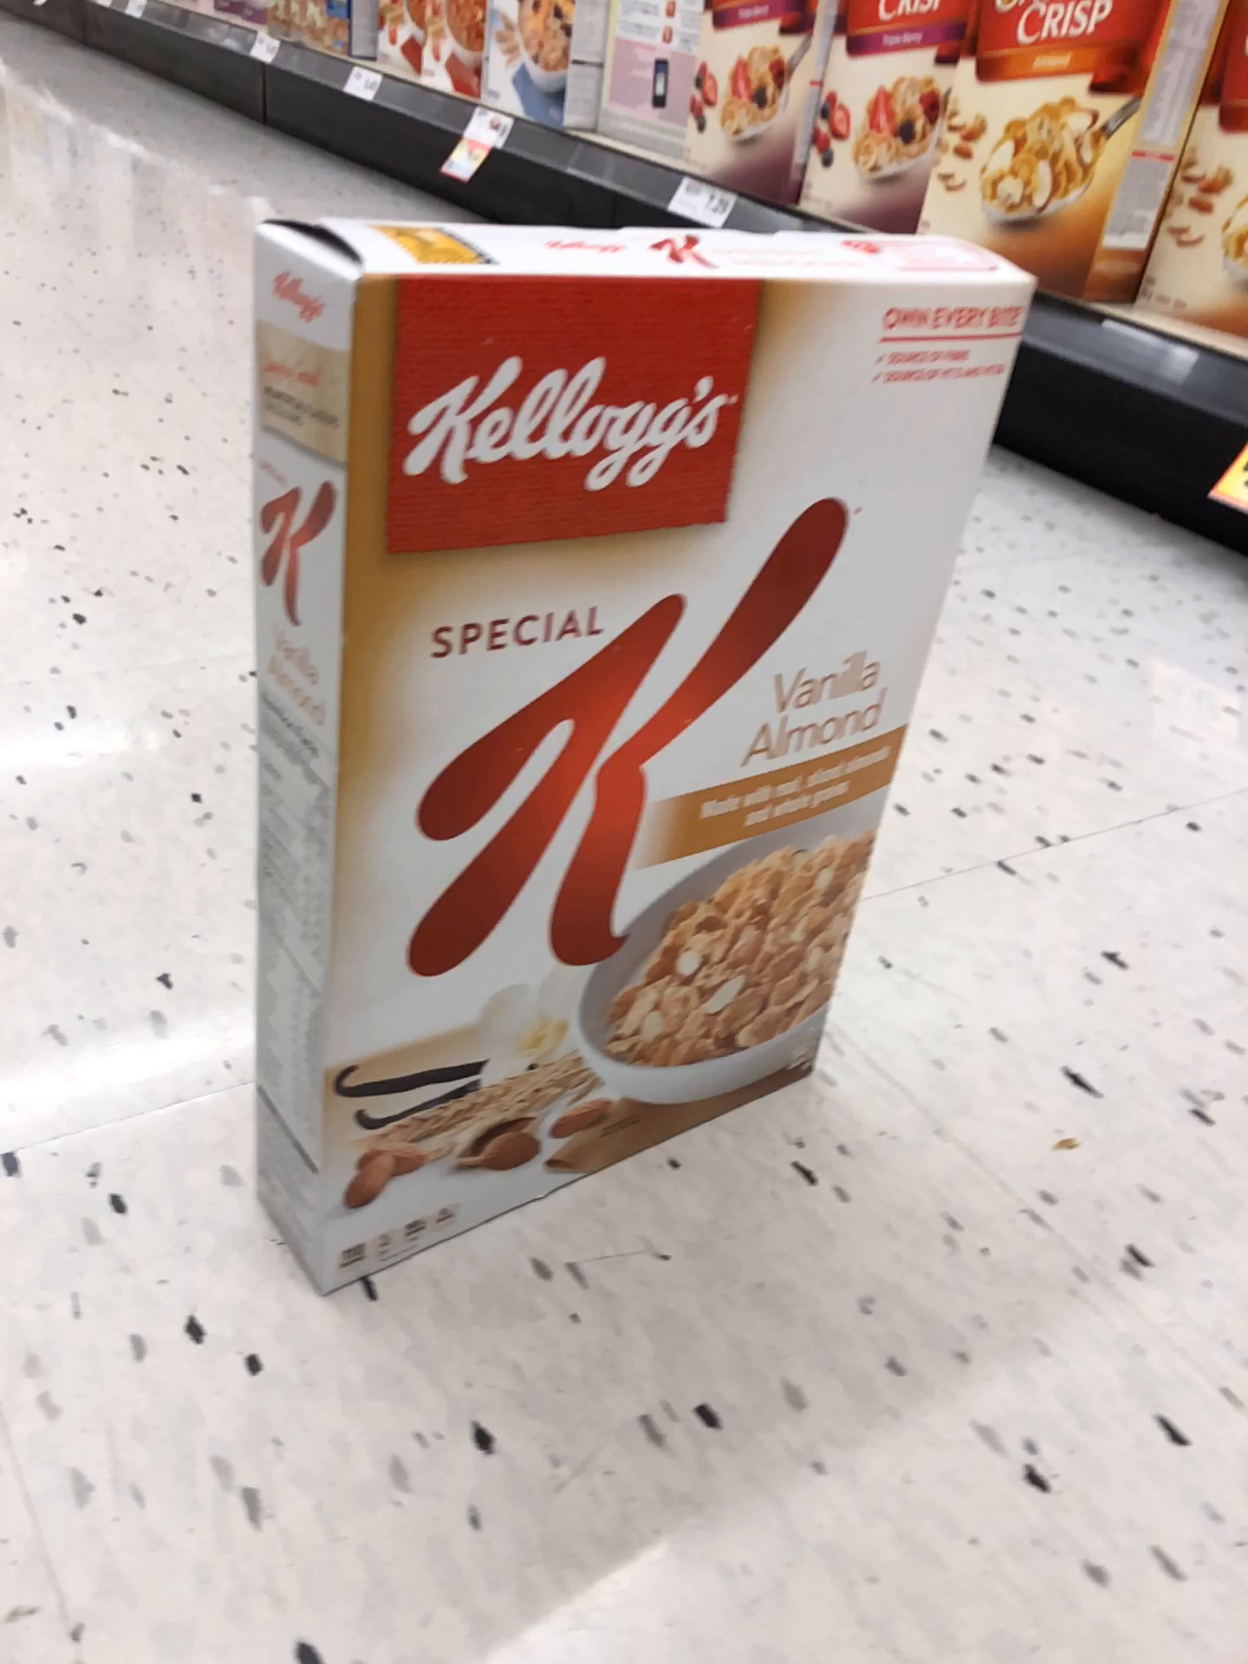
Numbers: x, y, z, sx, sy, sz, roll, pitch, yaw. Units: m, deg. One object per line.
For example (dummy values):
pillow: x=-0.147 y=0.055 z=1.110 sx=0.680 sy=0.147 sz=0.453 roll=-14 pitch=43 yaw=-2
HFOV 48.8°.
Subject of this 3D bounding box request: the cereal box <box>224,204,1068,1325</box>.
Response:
cereal box: x=0.001 y=-0.018 z=0.366 sx=0.201 sy=0.258 sz=0.050 roll=-15 pitch=37 yaw=-36
